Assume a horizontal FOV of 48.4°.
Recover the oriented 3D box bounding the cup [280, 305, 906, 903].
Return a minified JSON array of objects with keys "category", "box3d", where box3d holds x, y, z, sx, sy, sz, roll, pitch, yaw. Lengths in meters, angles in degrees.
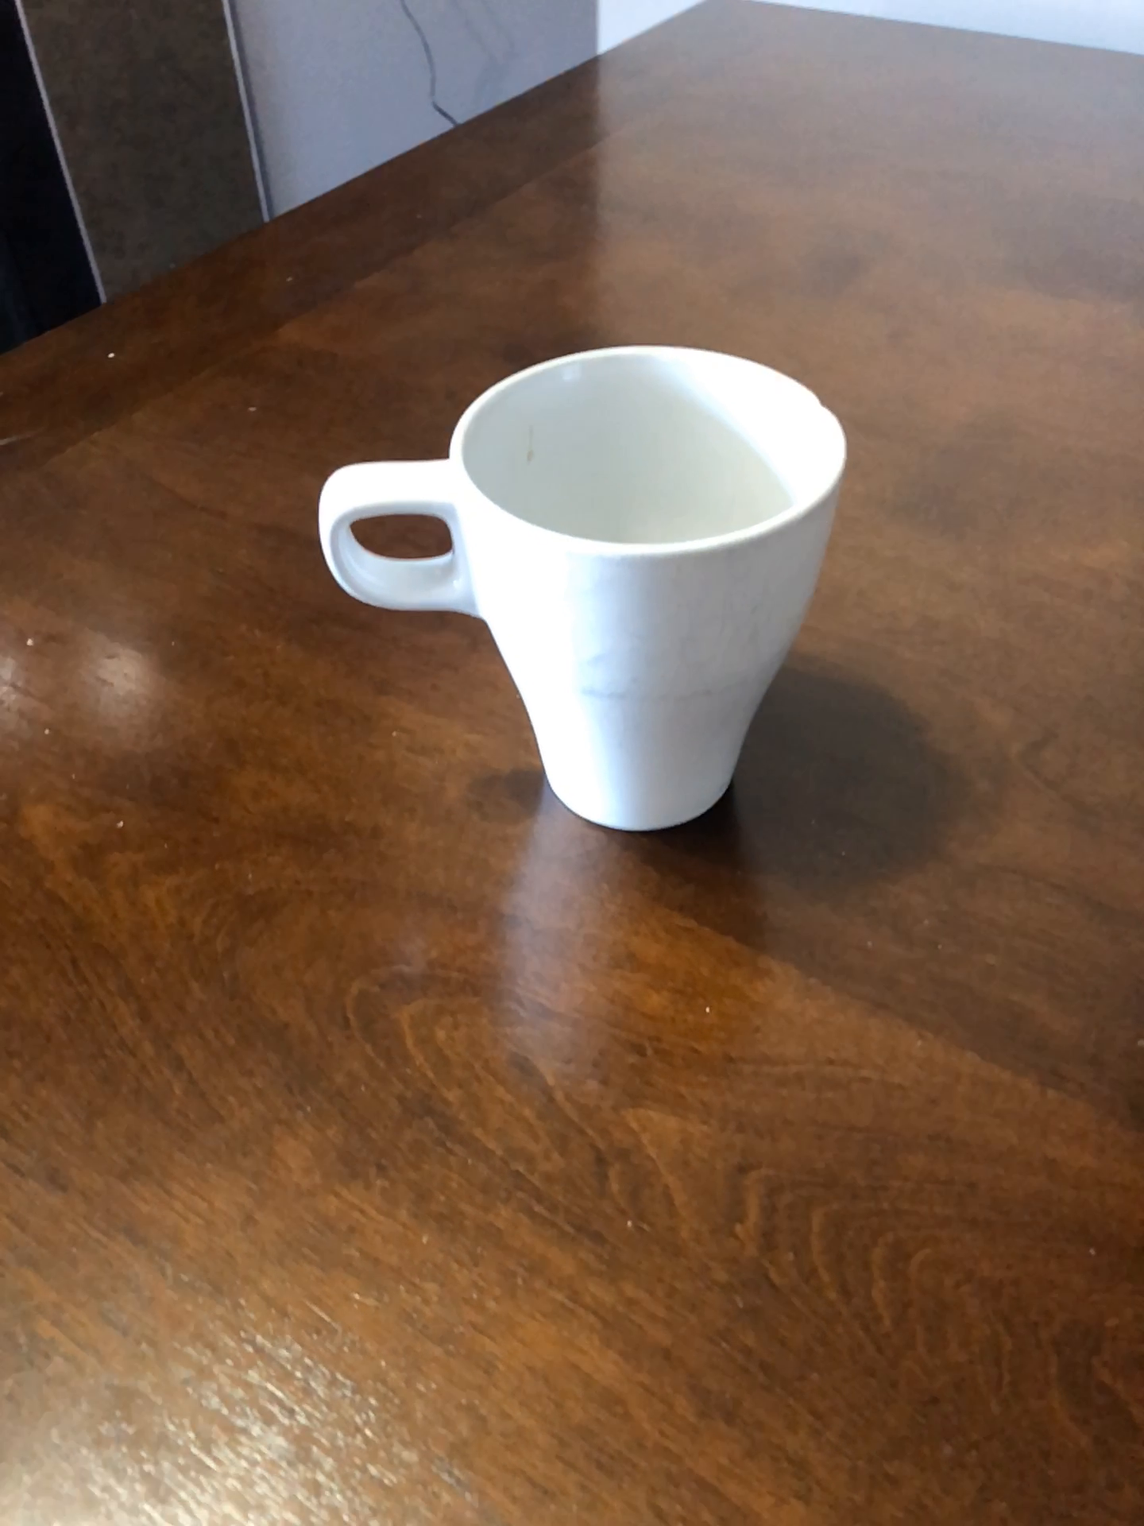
[{"category":"cup","box3d":[0.000,-0.039,0.306,0.120,0.100,0.080,-9,44,-7]}]
